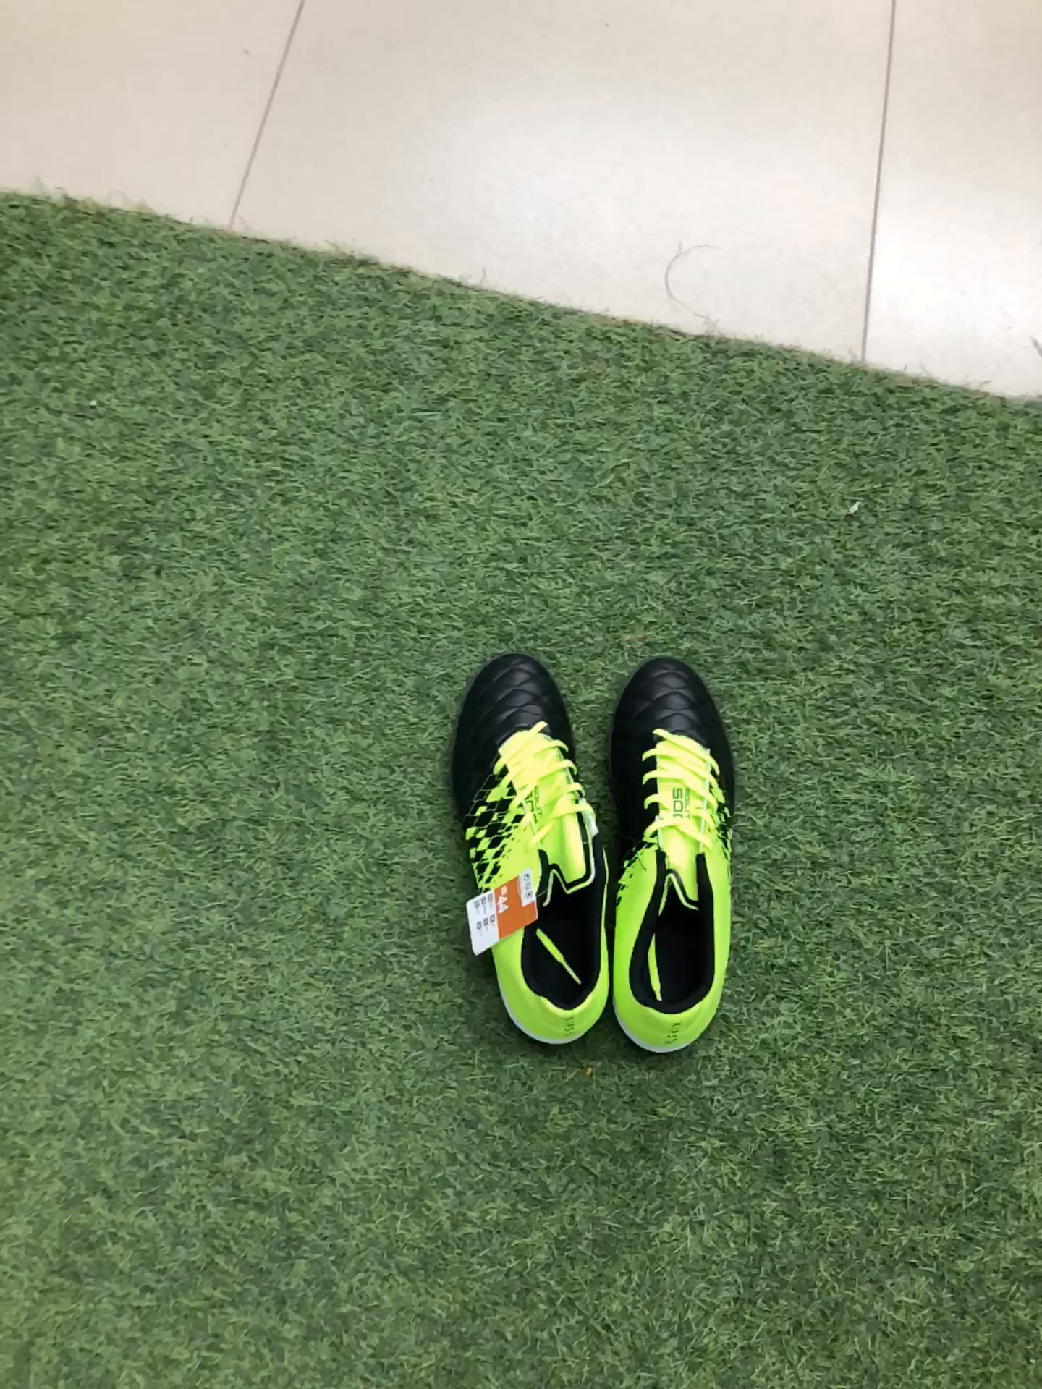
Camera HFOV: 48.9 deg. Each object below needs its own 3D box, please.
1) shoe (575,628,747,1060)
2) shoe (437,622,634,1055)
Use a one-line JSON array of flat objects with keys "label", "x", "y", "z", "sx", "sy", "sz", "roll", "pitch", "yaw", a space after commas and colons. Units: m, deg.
[{"label": "shoe", "x": 0.098, "y": 0.103, "z": 0.801, "sx": 0.100, "sy": 0.090, "sz": 0.281, "roll": 4, "pitch": 70, "yaw": 0}, {"label": "shoe", "x": 0.005, "y": 0.100, "z": 0.804, "sx": 0.100, "sy": 0.090, "sz": 0.281, "roll": -5, "pitch": 70, "yaw": -4}]
